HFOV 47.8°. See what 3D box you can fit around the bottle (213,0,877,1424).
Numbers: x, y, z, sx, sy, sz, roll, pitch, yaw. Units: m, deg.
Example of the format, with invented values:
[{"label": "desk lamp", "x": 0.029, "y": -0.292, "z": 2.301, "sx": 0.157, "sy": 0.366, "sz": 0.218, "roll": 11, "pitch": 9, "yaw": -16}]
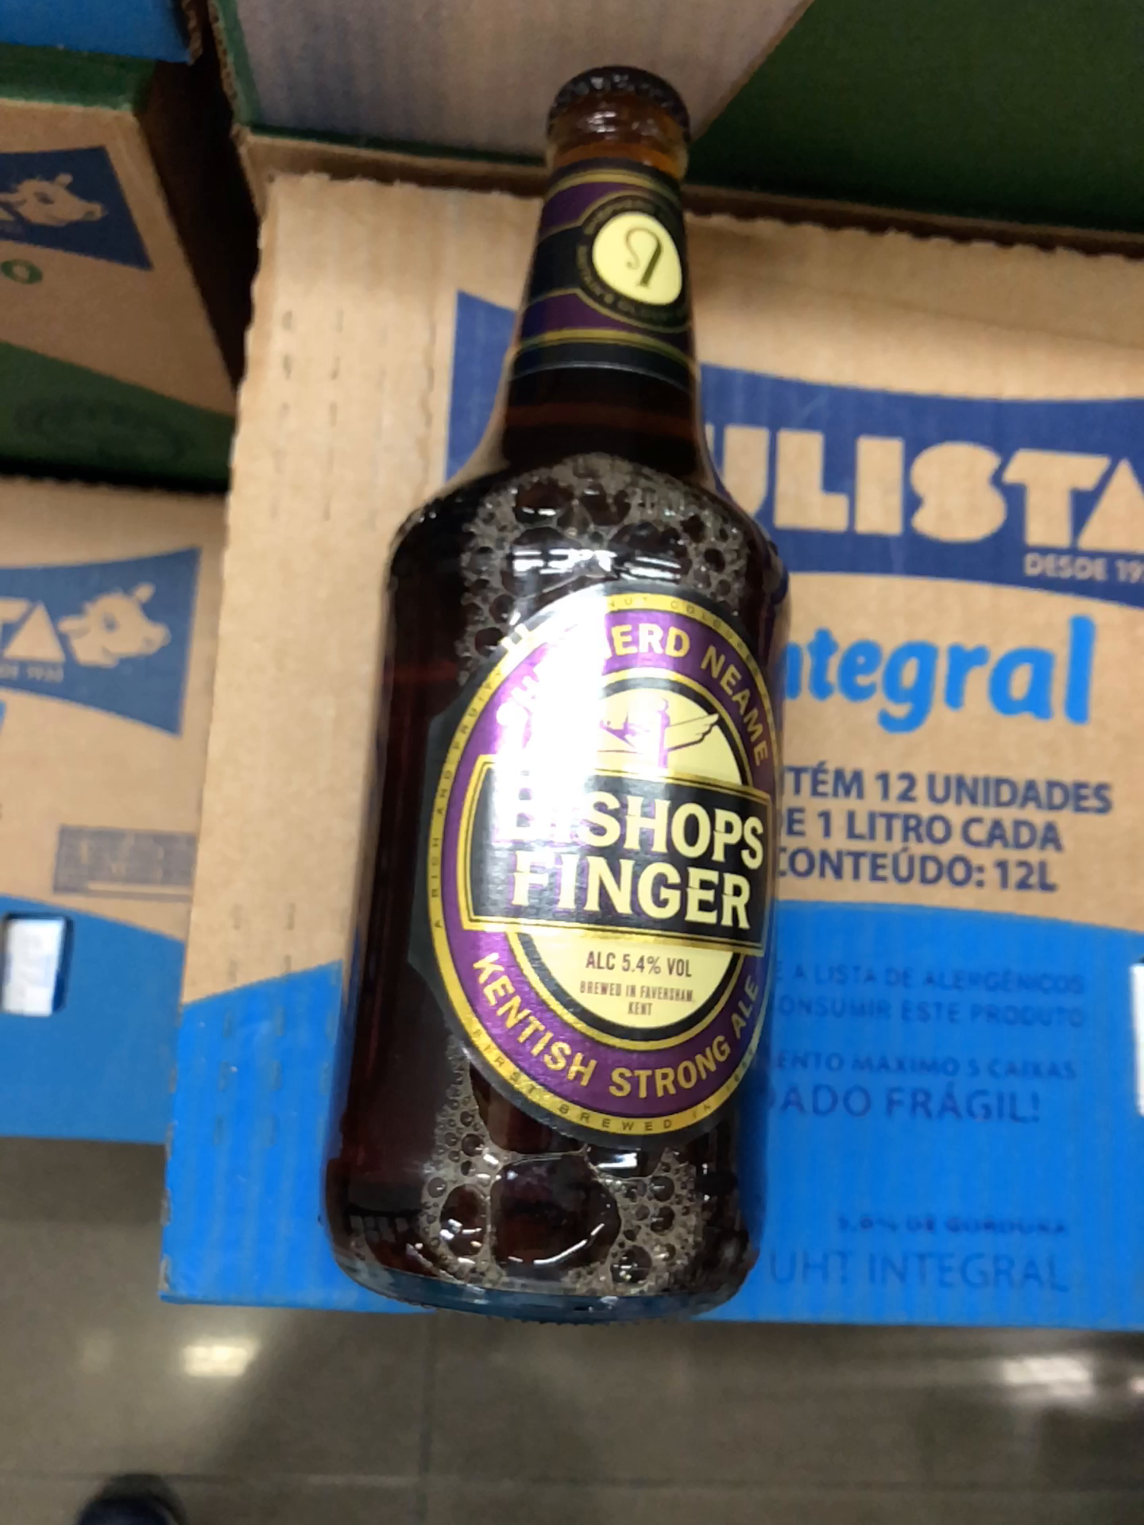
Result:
[{"label": "bottle", "x": 0.000, "y": -0.034, "z": 0.221, "sx": 0.080, "sy": 0.070, "sz": 0.250, "roll": 5, "pitch": 79, "yaw": -5}]
